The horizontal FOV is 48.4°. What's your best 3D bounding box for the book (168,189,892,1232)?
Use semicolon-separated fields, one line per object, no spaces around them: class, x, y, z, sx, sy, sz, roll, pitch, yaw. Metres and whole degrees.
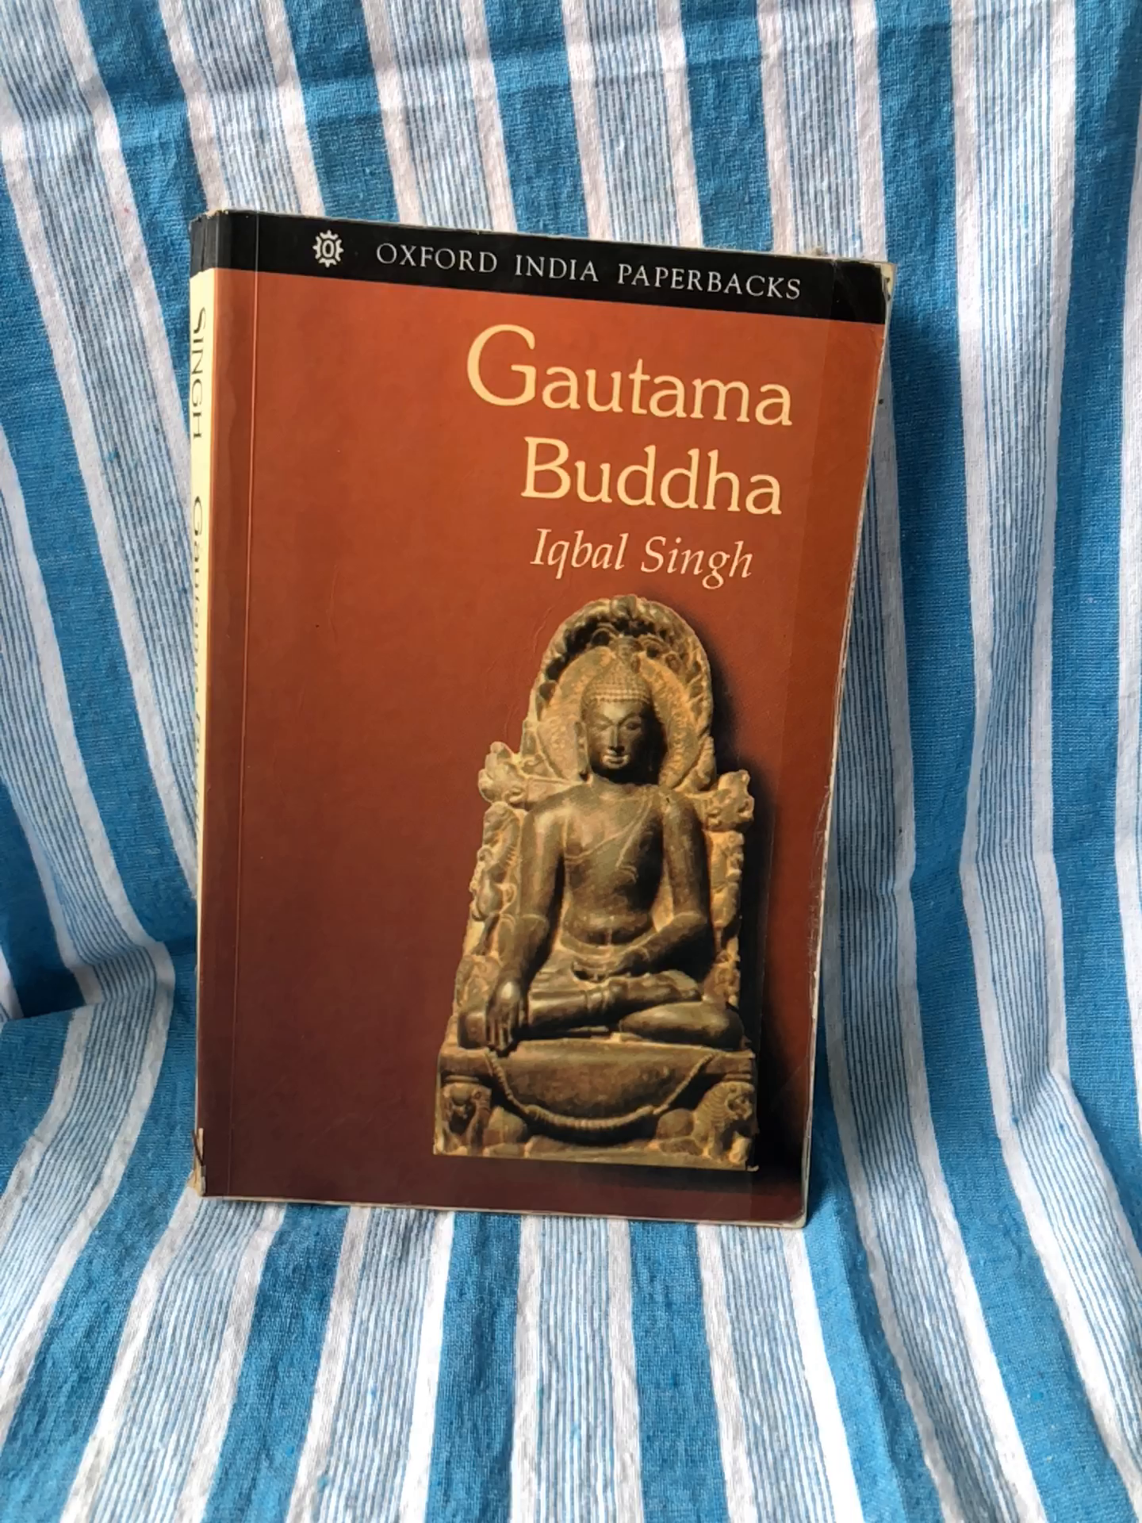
book;-0.012;-0.007;0.280;0.140;0.210;0.040;2;8;0
